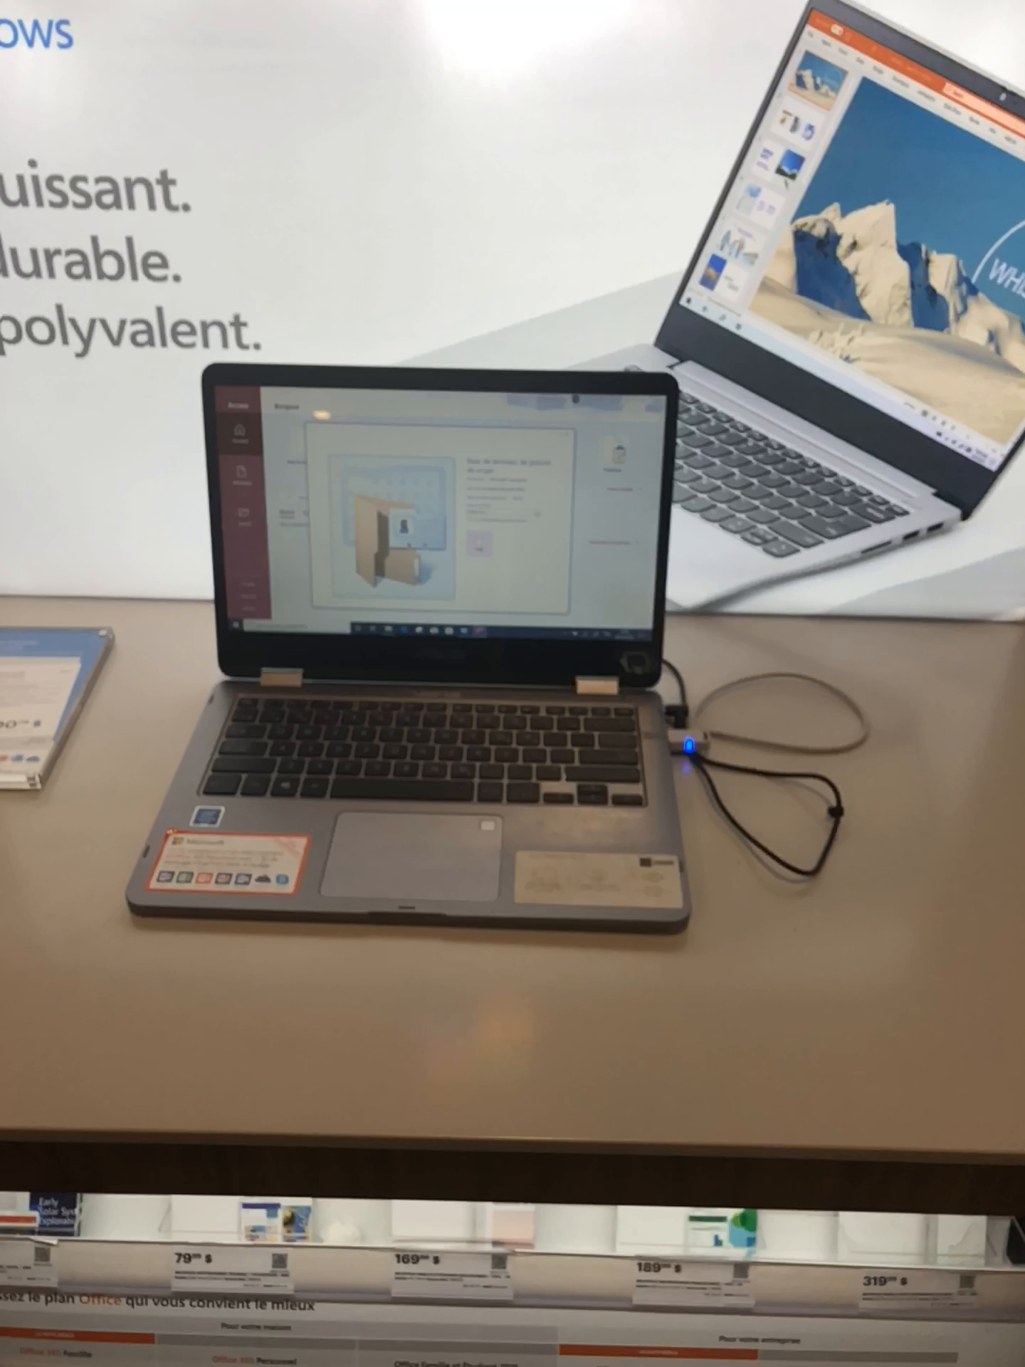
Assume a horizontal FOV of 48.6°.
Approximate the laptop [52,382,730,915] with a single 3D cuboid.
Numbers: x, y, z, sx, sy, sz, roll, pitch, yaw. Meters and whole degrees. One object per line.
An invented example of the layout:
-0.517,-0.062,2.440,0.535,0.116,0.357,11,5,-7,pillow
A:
-0.053,-0.035,0.695,0.311,0.214,0.273,1,33,1,laptop
